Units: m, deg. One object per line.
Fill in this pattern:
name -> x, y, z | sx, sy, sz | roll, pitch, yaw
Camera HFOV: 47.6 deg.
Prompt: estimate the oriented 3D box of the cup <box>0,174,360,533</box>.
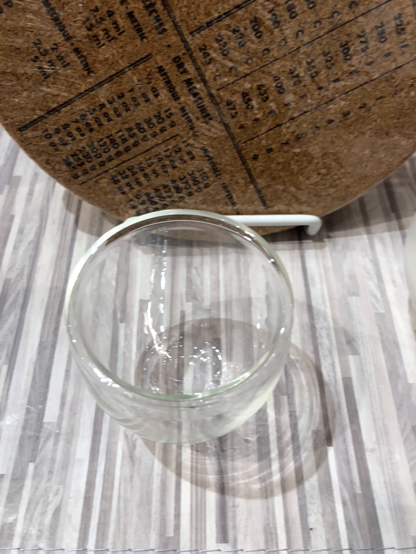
cup -> -0.006, 0.022, 0.144 | 0.070, 0.050, 0.070 | 1, 58, -1
